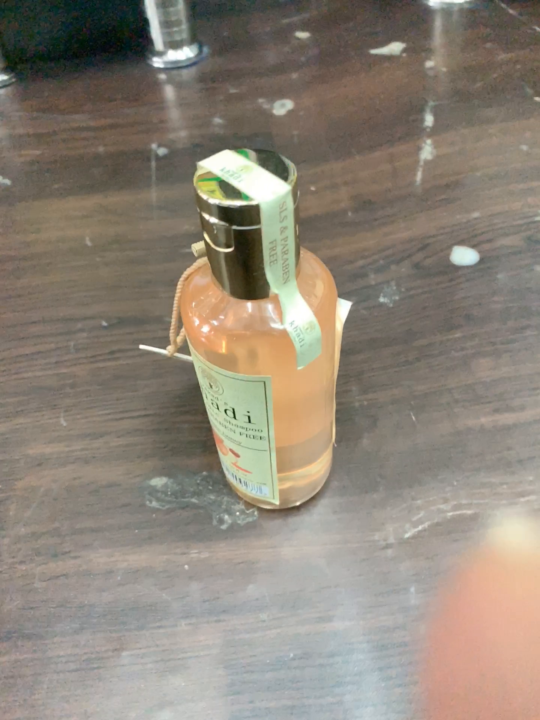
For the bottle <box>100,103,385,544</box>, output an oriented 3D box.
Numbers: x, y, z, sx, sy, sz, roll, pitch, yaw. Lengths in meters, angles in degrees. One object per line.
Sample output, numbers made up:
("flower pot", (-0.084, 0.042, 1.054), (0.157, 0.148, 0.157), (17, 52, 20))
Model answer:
("bottle", (-0.003, 0.001, 0.197), (0.050, 0.150, 0.050), (-2, 51, 3))
